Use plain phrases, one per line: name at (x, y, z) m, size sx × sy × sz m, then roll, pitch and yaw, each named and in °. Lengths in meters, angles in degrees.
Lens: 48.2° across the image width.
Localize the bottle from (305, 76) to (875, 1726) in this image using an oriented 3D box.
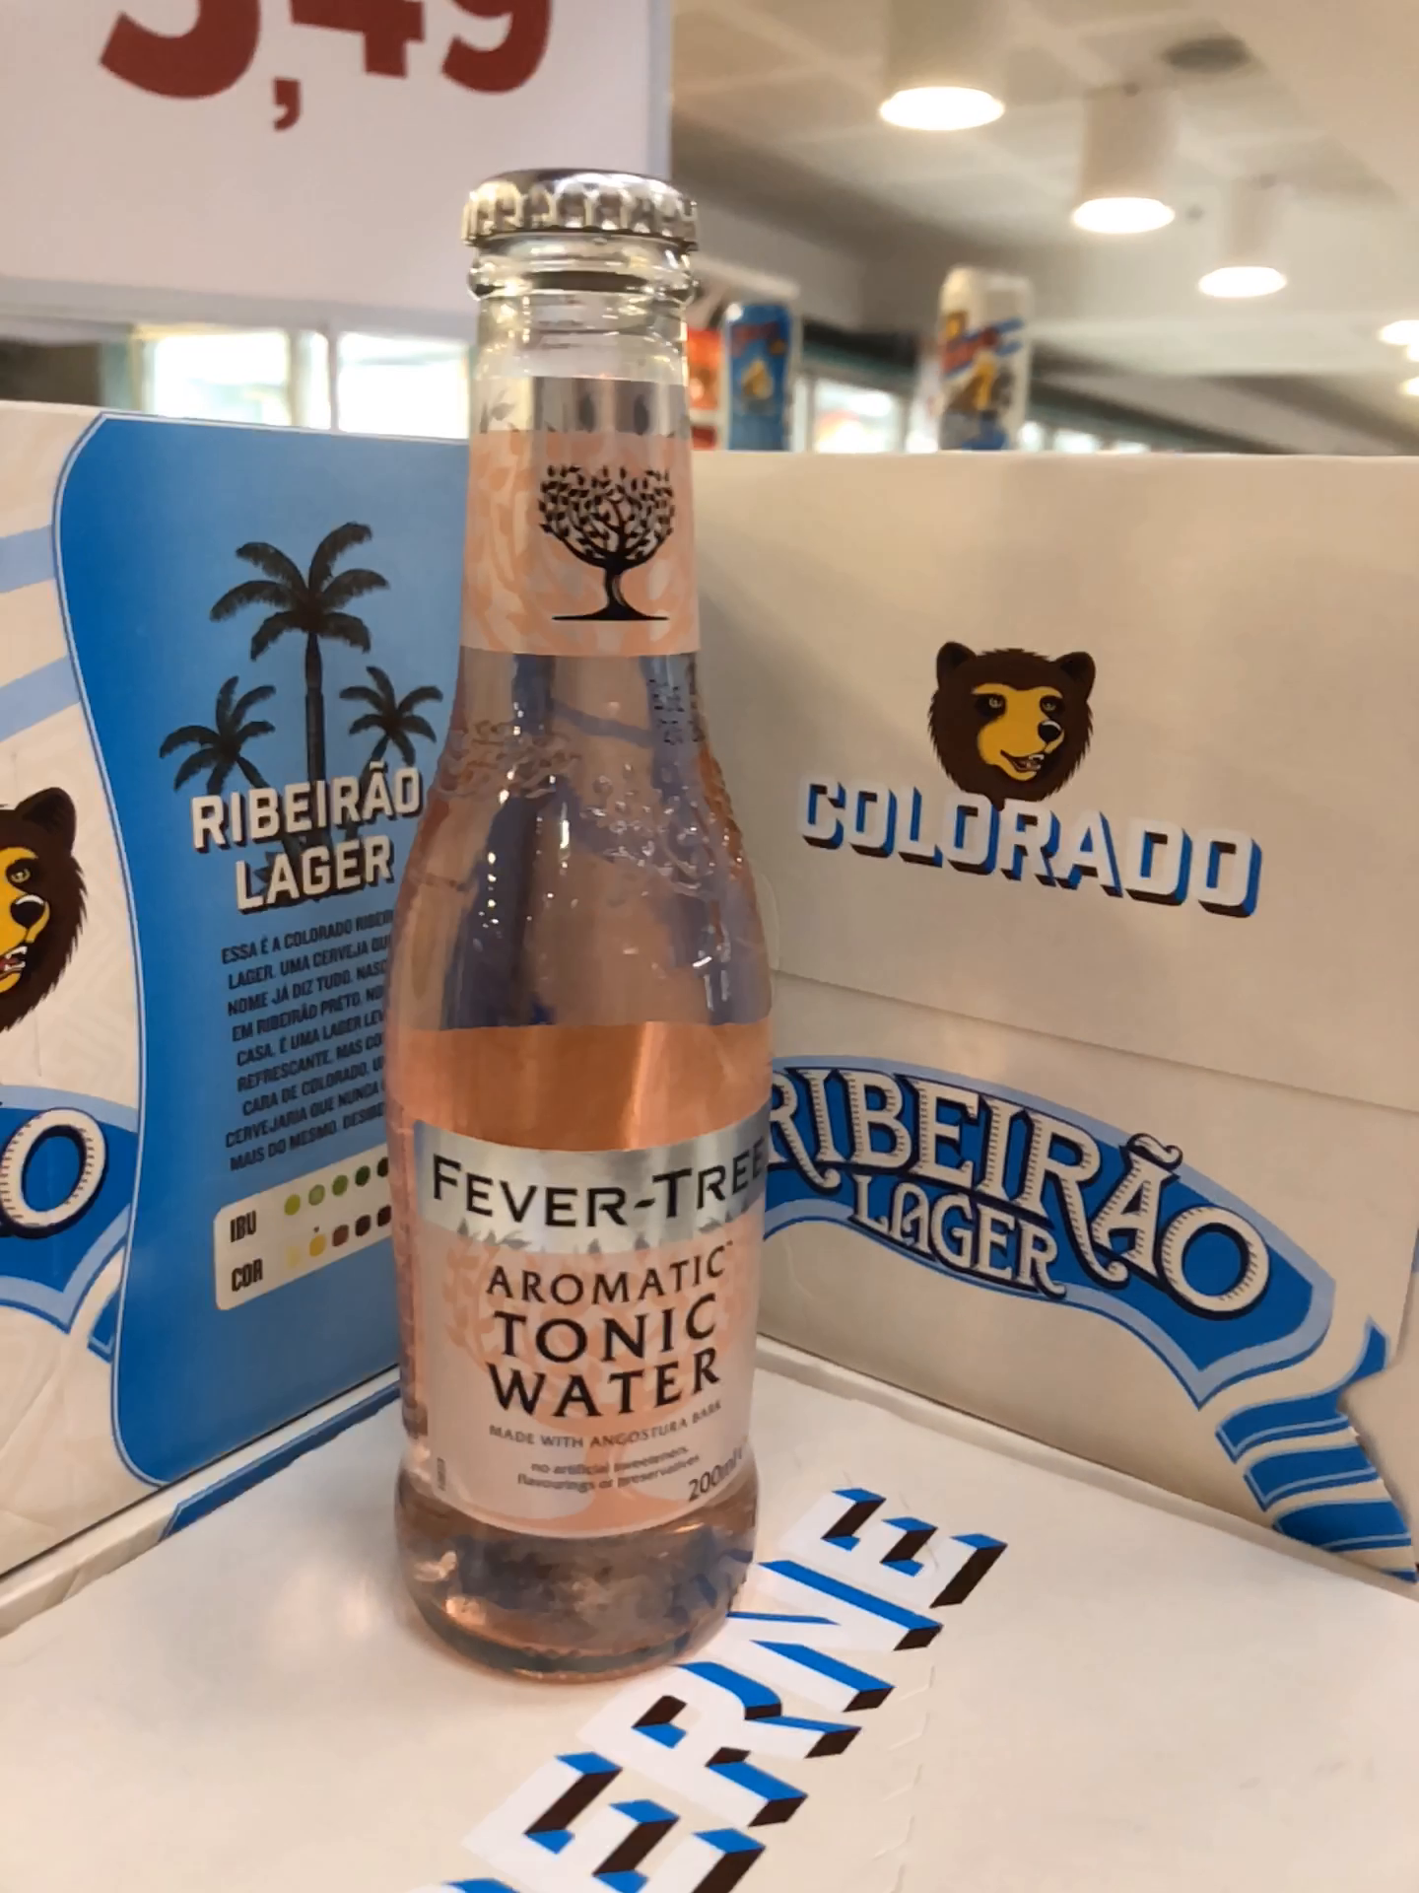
bottle at (-0.020, -0.001, 0.209) m, size 0.060 × 0.189 × 0.050 m, roll -1°, pitch 13°, yaw -14°
